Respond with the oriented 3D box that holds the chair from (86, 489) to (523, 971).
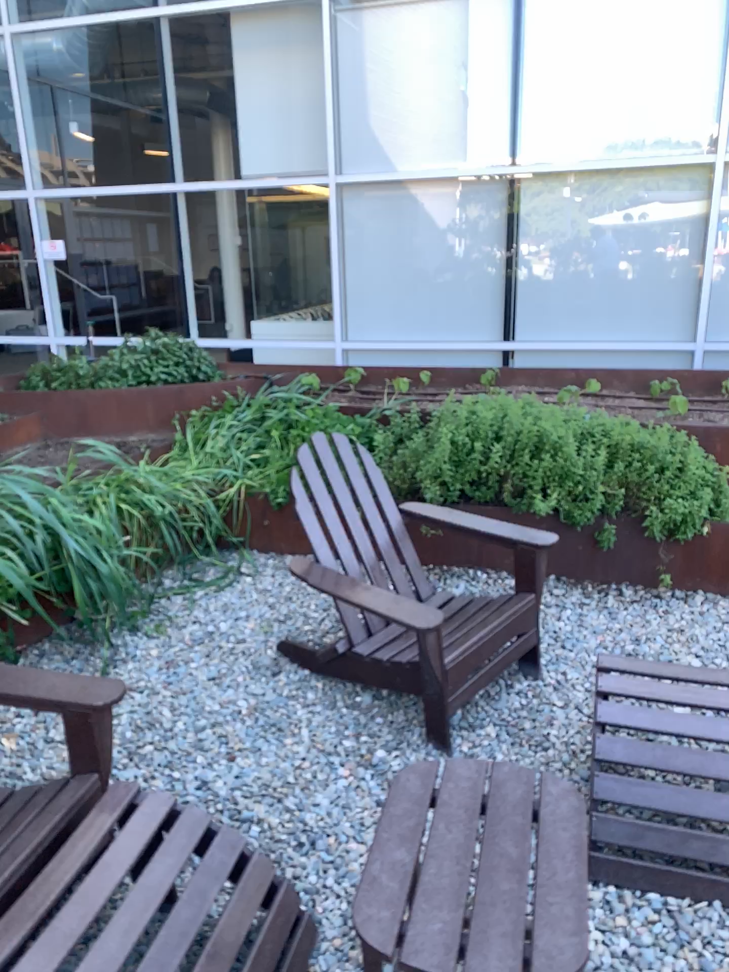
[{"bbox_3d":[-0.213,0.703,2.459,1.001,0.996,1.004,-13,21,-33],"label":"chair"}]
